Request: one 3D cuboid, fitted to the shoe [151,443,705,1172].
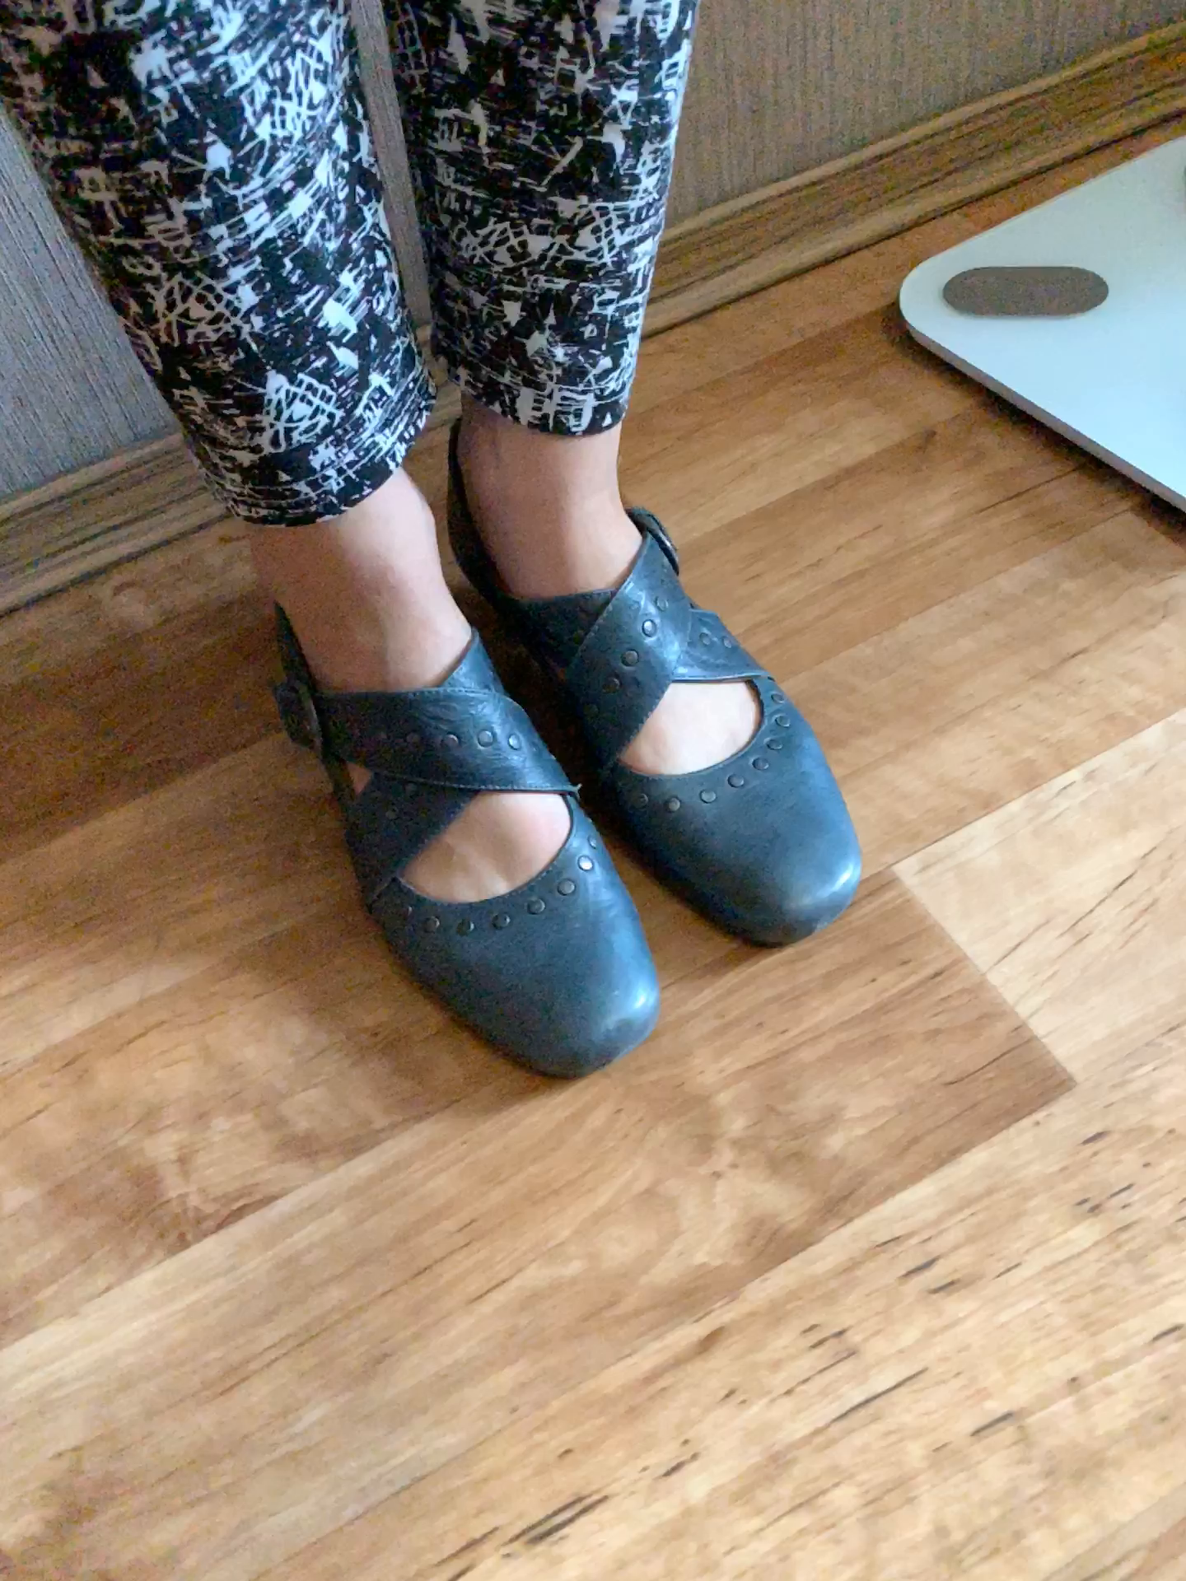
[{"bbox_3d":[-0.065,-0.007,0.431,0.090,0.100,0.241,-27,51,-11],"label":"shoe"}]

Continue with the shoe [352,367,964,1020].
[{"bbox_3d":[0.014,-0.050,0.467,0.090,0.100,0.251,-31,52,-14],"label":"shoe"}]
